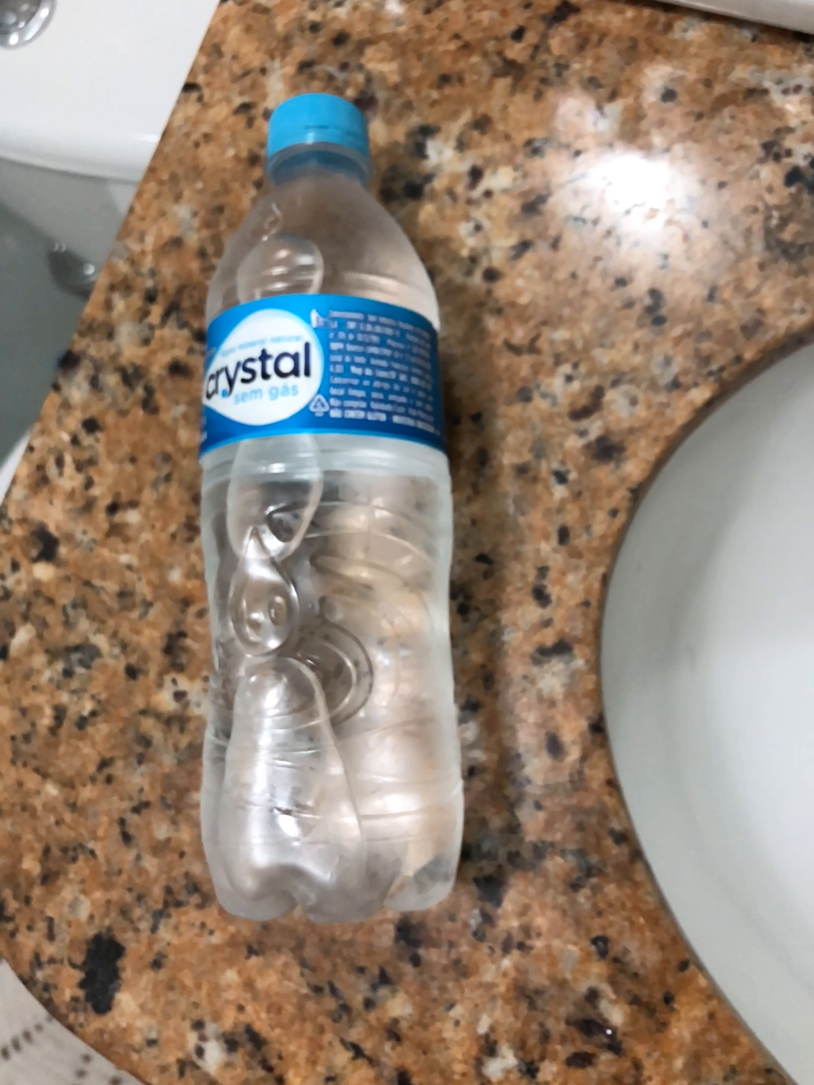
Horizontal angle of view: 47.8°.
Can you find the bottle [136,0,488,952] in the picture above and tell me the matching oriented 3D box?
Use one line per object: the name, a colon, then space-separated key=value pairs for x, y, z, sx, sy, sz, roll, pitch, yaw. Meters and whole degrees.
bottle: x=-0.025 y=-0.022 z=0.242 sx=0.070 sy=0.050 sz=0.230 roll=-6 pitch=78 yaw=15
